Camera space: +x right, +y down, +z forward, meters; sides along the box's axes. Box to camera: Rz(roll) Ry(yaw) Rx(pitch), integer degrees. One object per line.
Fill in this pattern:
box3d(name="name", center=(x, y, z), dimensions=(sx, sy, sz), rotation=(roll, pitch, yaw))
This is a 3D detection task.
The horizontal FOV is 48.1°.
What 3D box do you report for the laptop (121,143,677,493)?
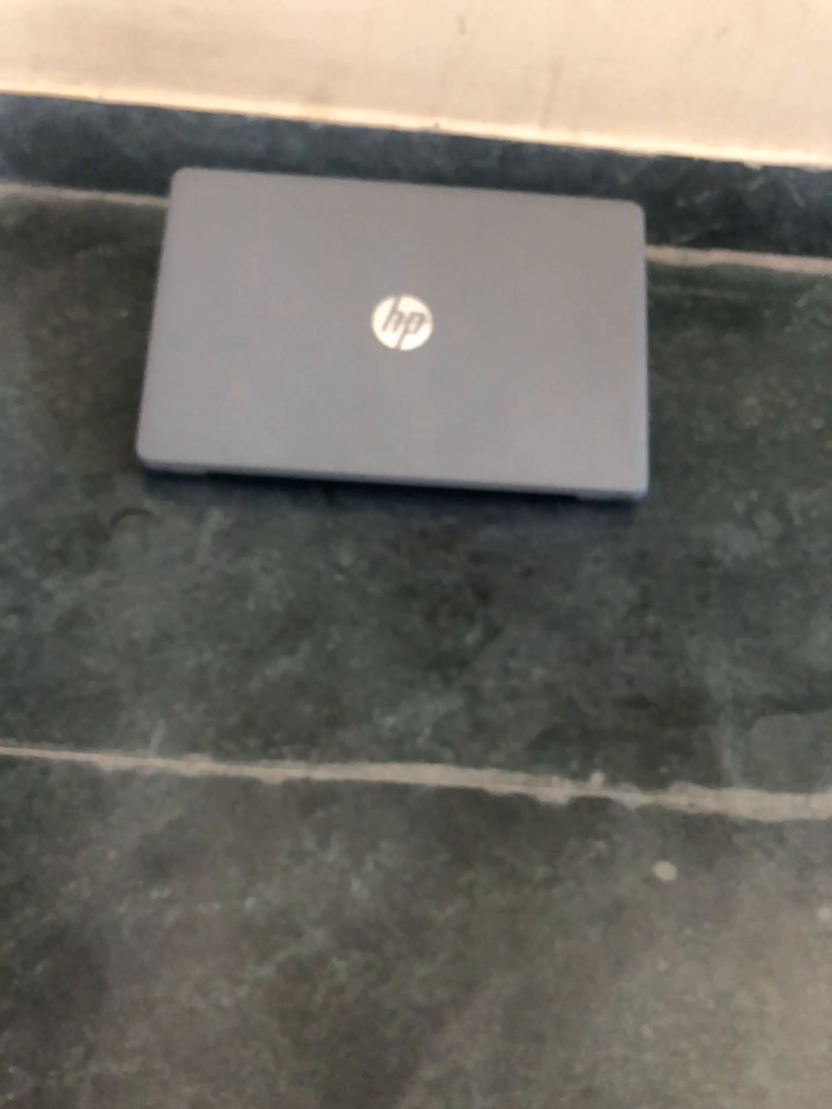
box3d(name="laptop", center=(-0.008, -0.183, 0.702), dimensions=(0.357, 0.092, 0.244), rotation=(3, 56, -2))
